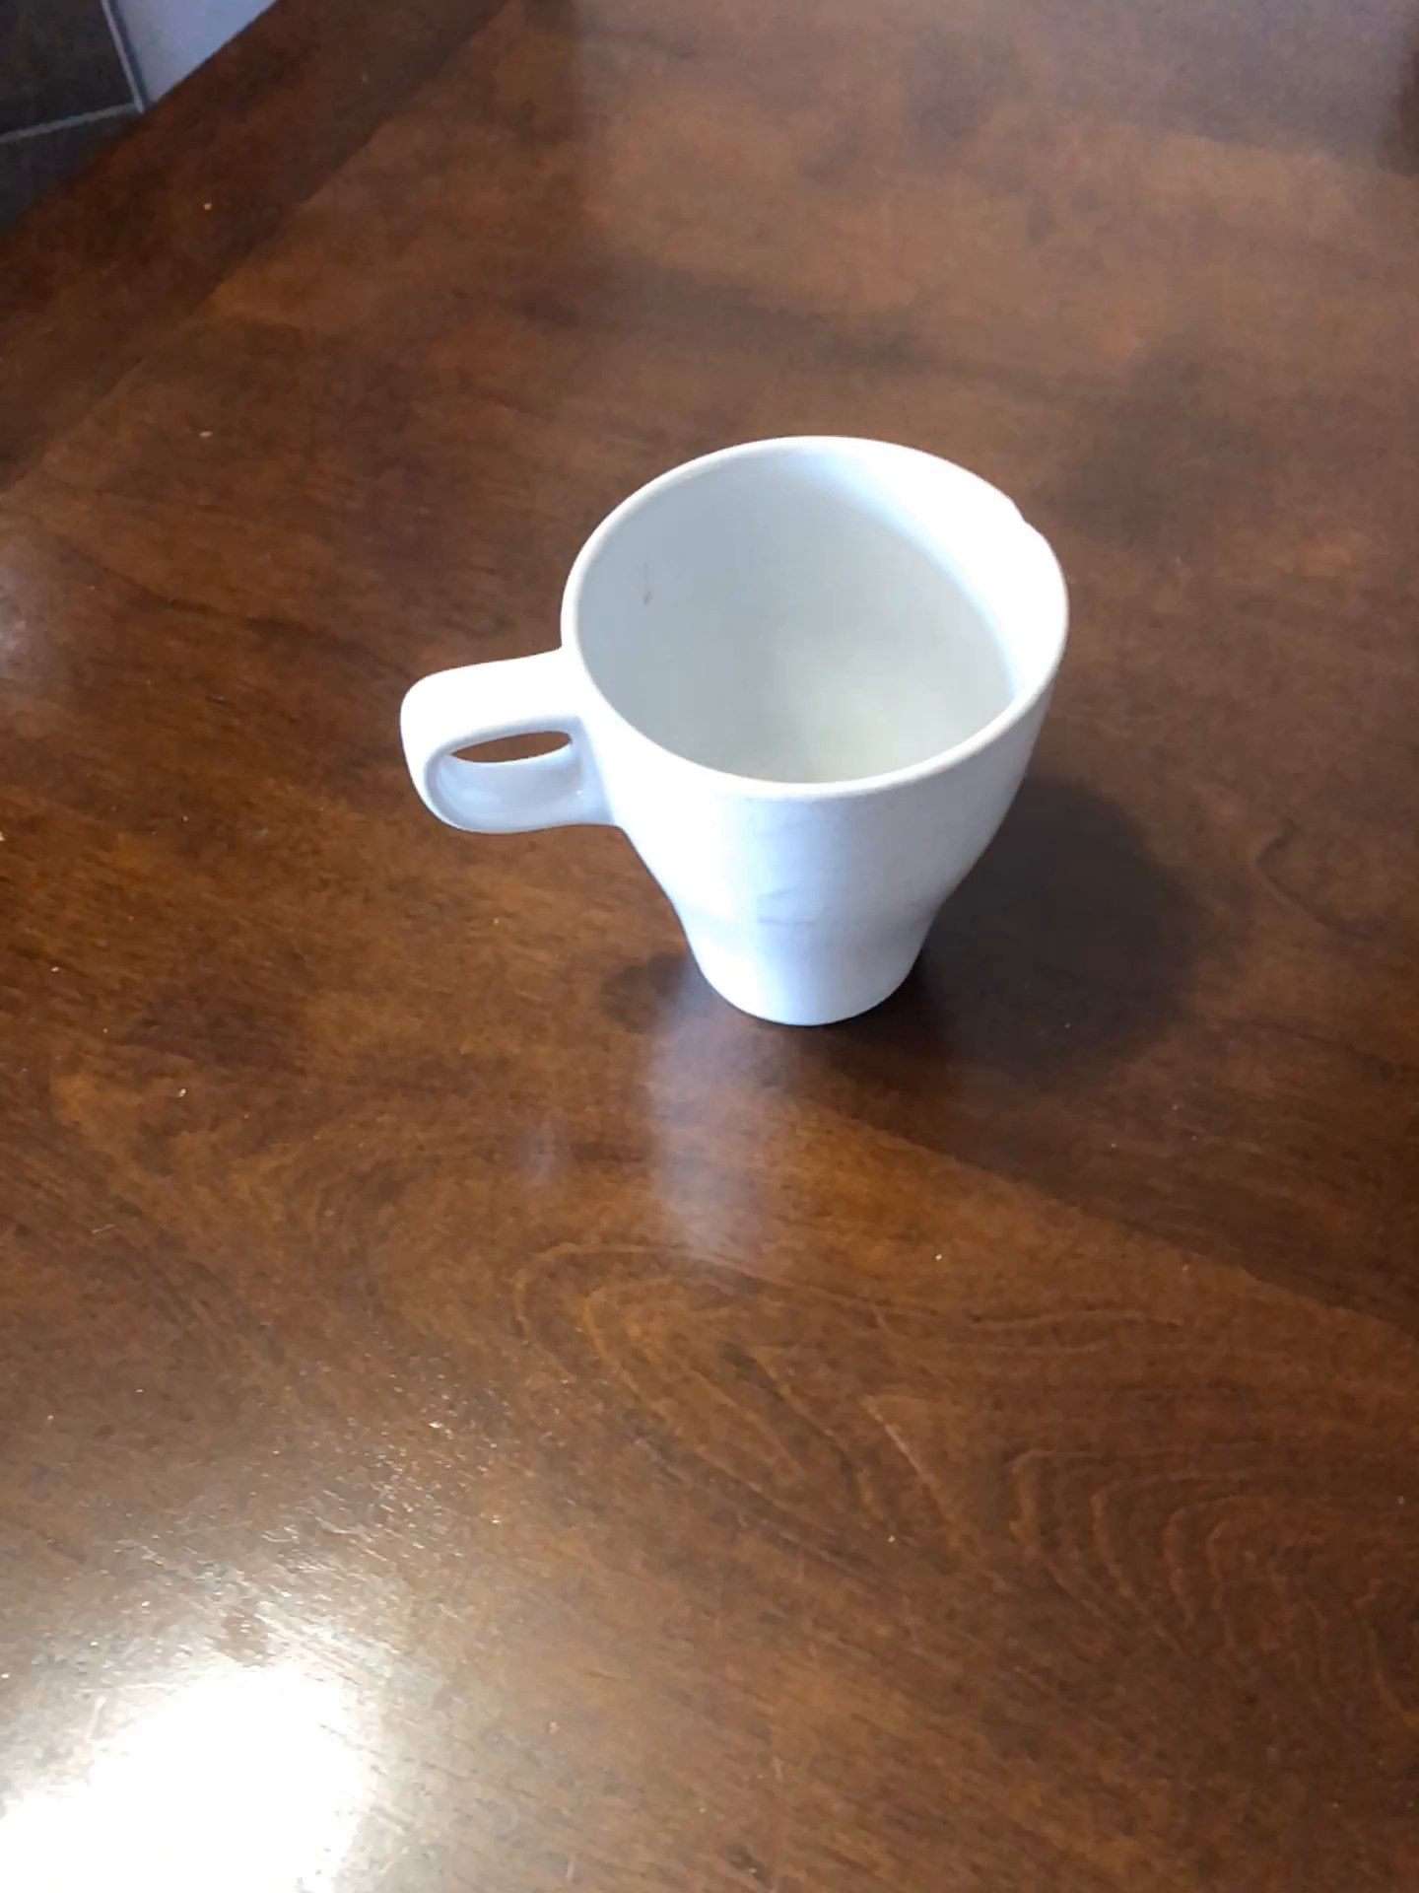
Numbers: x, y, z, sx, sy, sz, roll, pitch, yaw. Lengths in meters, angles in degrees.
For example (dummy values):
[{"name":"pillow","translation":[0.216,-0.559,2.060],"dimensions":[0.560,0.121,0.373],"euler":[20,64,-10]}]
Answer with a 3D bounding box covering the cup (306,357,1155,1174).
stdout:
[{"name":"cup","translation":[0.002,-0.032,0.301],"dimensions":[0.120,0.100,0.080],"euler":[-17,56,-9]}]
